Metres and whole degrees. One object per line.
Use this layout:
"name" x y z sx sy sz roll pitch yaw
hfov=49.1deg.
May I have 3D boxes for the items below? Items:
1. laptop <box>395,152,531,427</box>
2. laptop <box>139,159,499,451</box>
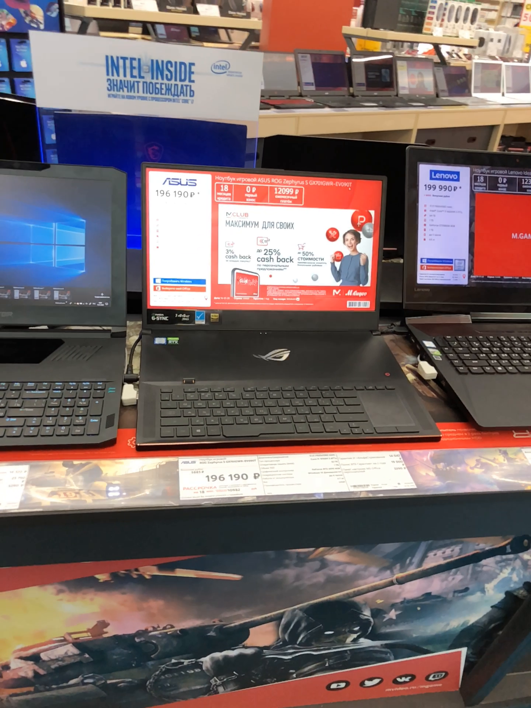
"laptop" 0.474 -0.126 0.900 0.374 0.248 0.414 -1 33 -8
"laptop" 0.025 -0.091 0.823 0.391 0.240 0.379 0 32 -11
